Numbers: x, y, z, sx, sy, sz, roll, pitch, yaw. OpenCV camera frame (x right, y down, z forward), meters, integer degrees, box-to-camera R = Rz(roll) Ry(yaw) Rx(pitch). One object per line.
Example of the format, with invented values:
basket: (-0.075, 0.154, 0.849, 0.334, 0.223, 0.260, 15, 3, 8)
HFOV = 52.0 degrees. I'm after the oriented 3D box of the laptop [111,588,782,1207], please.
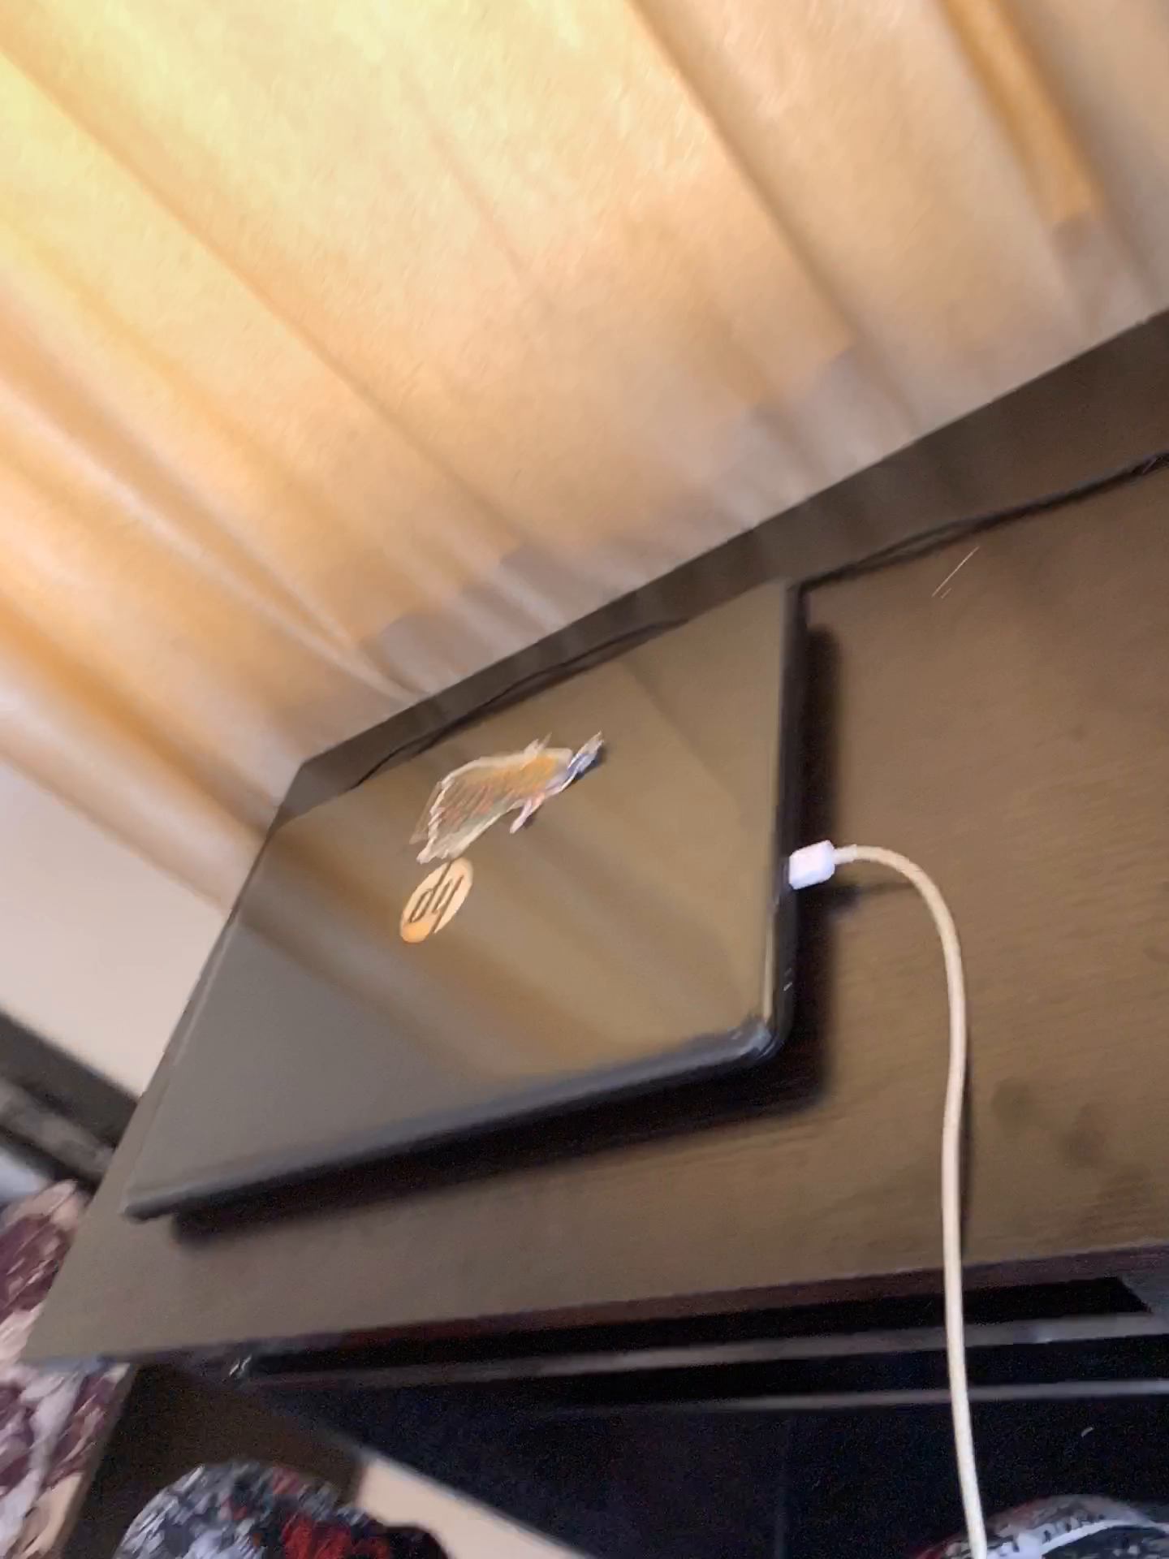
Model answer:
laptop: (-0.072, 0.062, 0.569, 0.374, 0.006, 0.238, -24, 36, 34)
